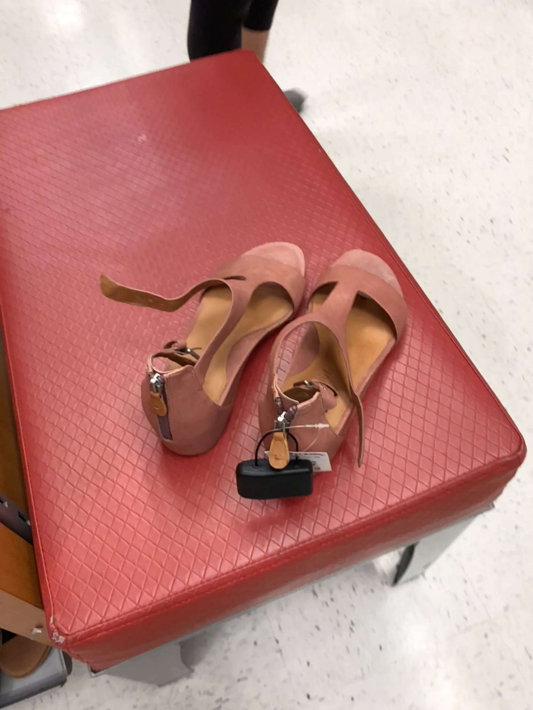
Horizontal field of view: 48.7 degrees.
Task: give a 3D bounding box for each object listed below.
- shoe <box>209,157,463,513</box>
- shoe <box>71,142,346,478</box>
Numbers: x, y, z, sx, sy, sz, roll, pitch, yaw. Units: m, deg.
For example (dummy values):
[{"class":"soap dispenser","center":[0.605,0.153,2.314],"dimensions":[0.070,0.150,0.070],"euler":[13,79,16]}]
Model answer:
[{"class":"shoe","center":[0.066,-0.025,0.499],"dimensions":[0.103,0.126,0.263],"euler":[21,58,15]},{"class":"shoe","center":[-0.033,-0.048,0.514],"dimensions":[0.106,0.116,0.261],"euler":[21,58,15]}]
